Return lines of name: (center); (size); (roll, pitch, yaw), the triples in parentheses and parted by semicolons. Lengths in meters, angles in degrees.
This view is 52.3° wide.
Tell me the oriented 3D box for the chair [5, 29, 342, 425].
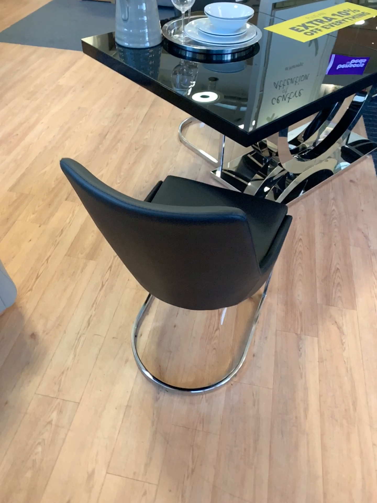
chair: (0.028, -0.057, 1.090); (0.506, 0.812, 0.634); (15, 47, 13)
